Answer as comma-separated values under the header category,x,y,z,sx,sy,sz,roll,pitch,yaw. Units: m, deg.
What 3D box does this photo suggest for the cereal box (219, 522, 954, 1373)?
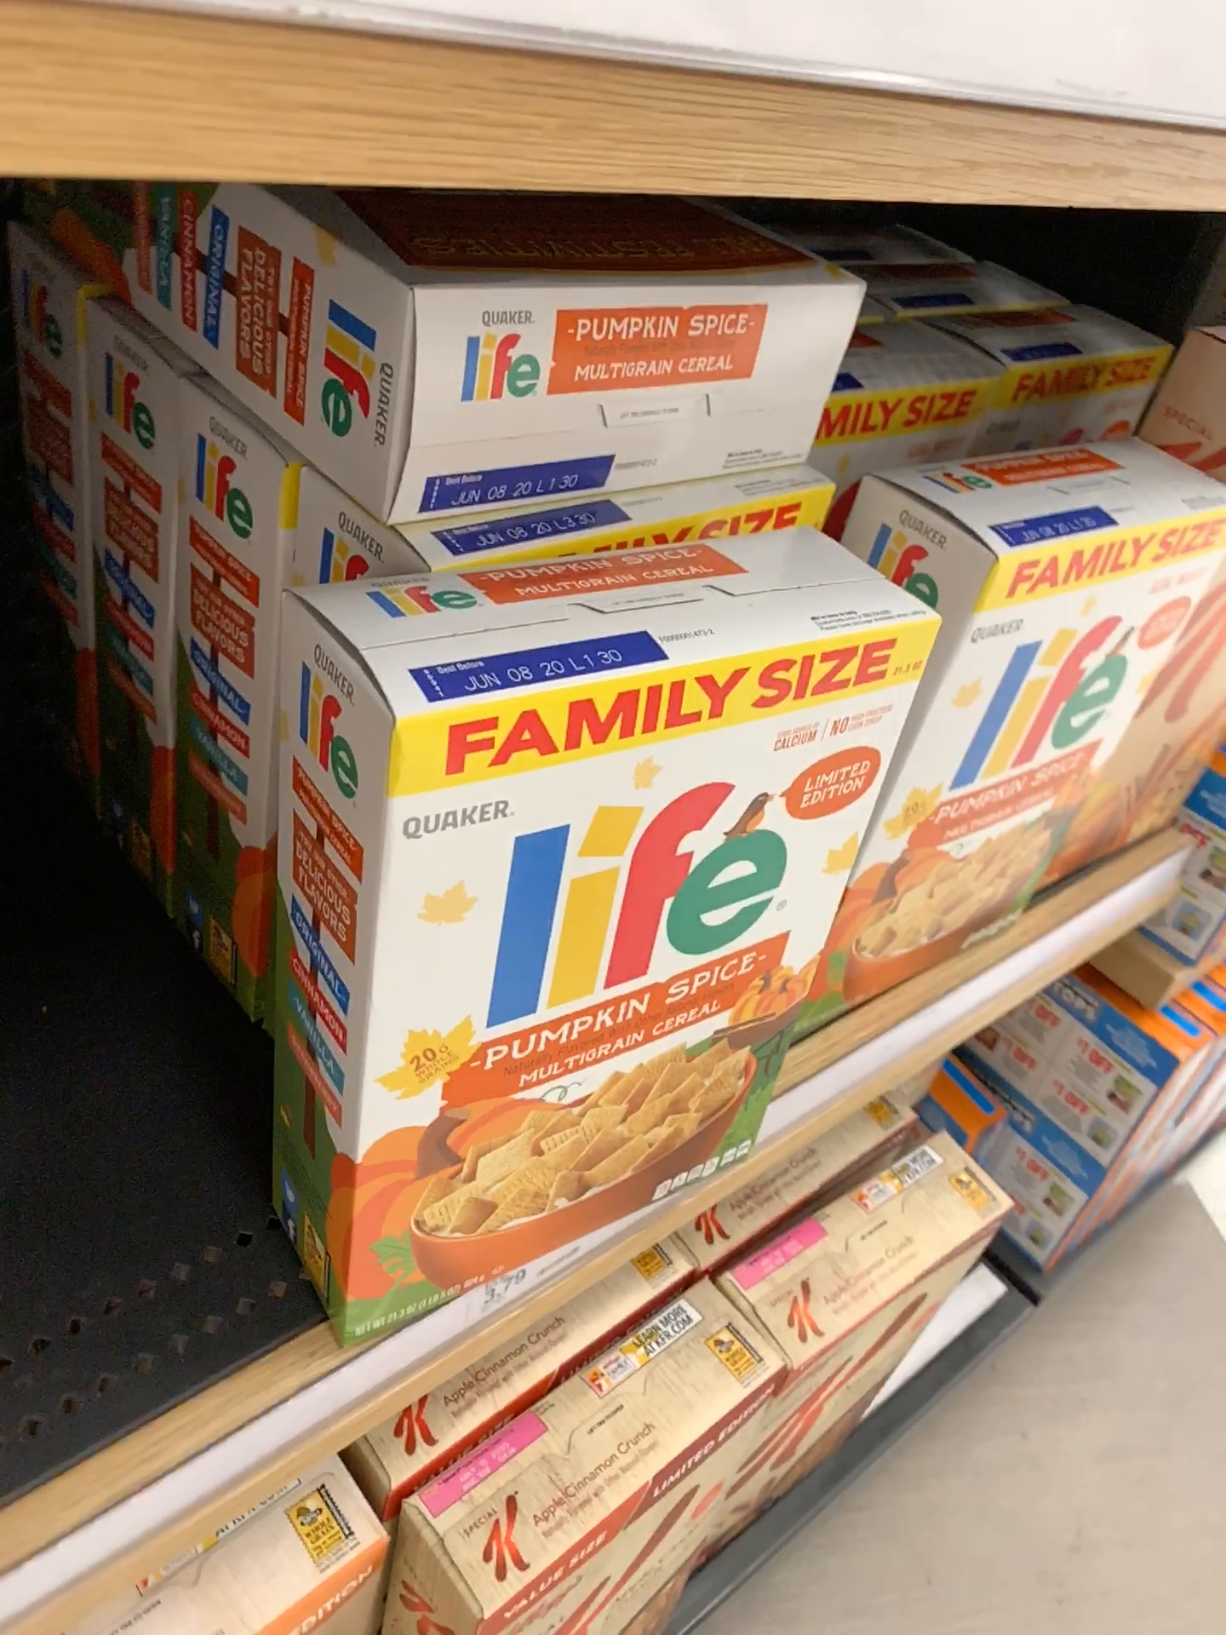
category,x,y,z,sx,sy,sz,roll,pitch,yaw
cereal box,-0.019,0.041,0.419,0.200,0.249,0.070,-14,41,-33
